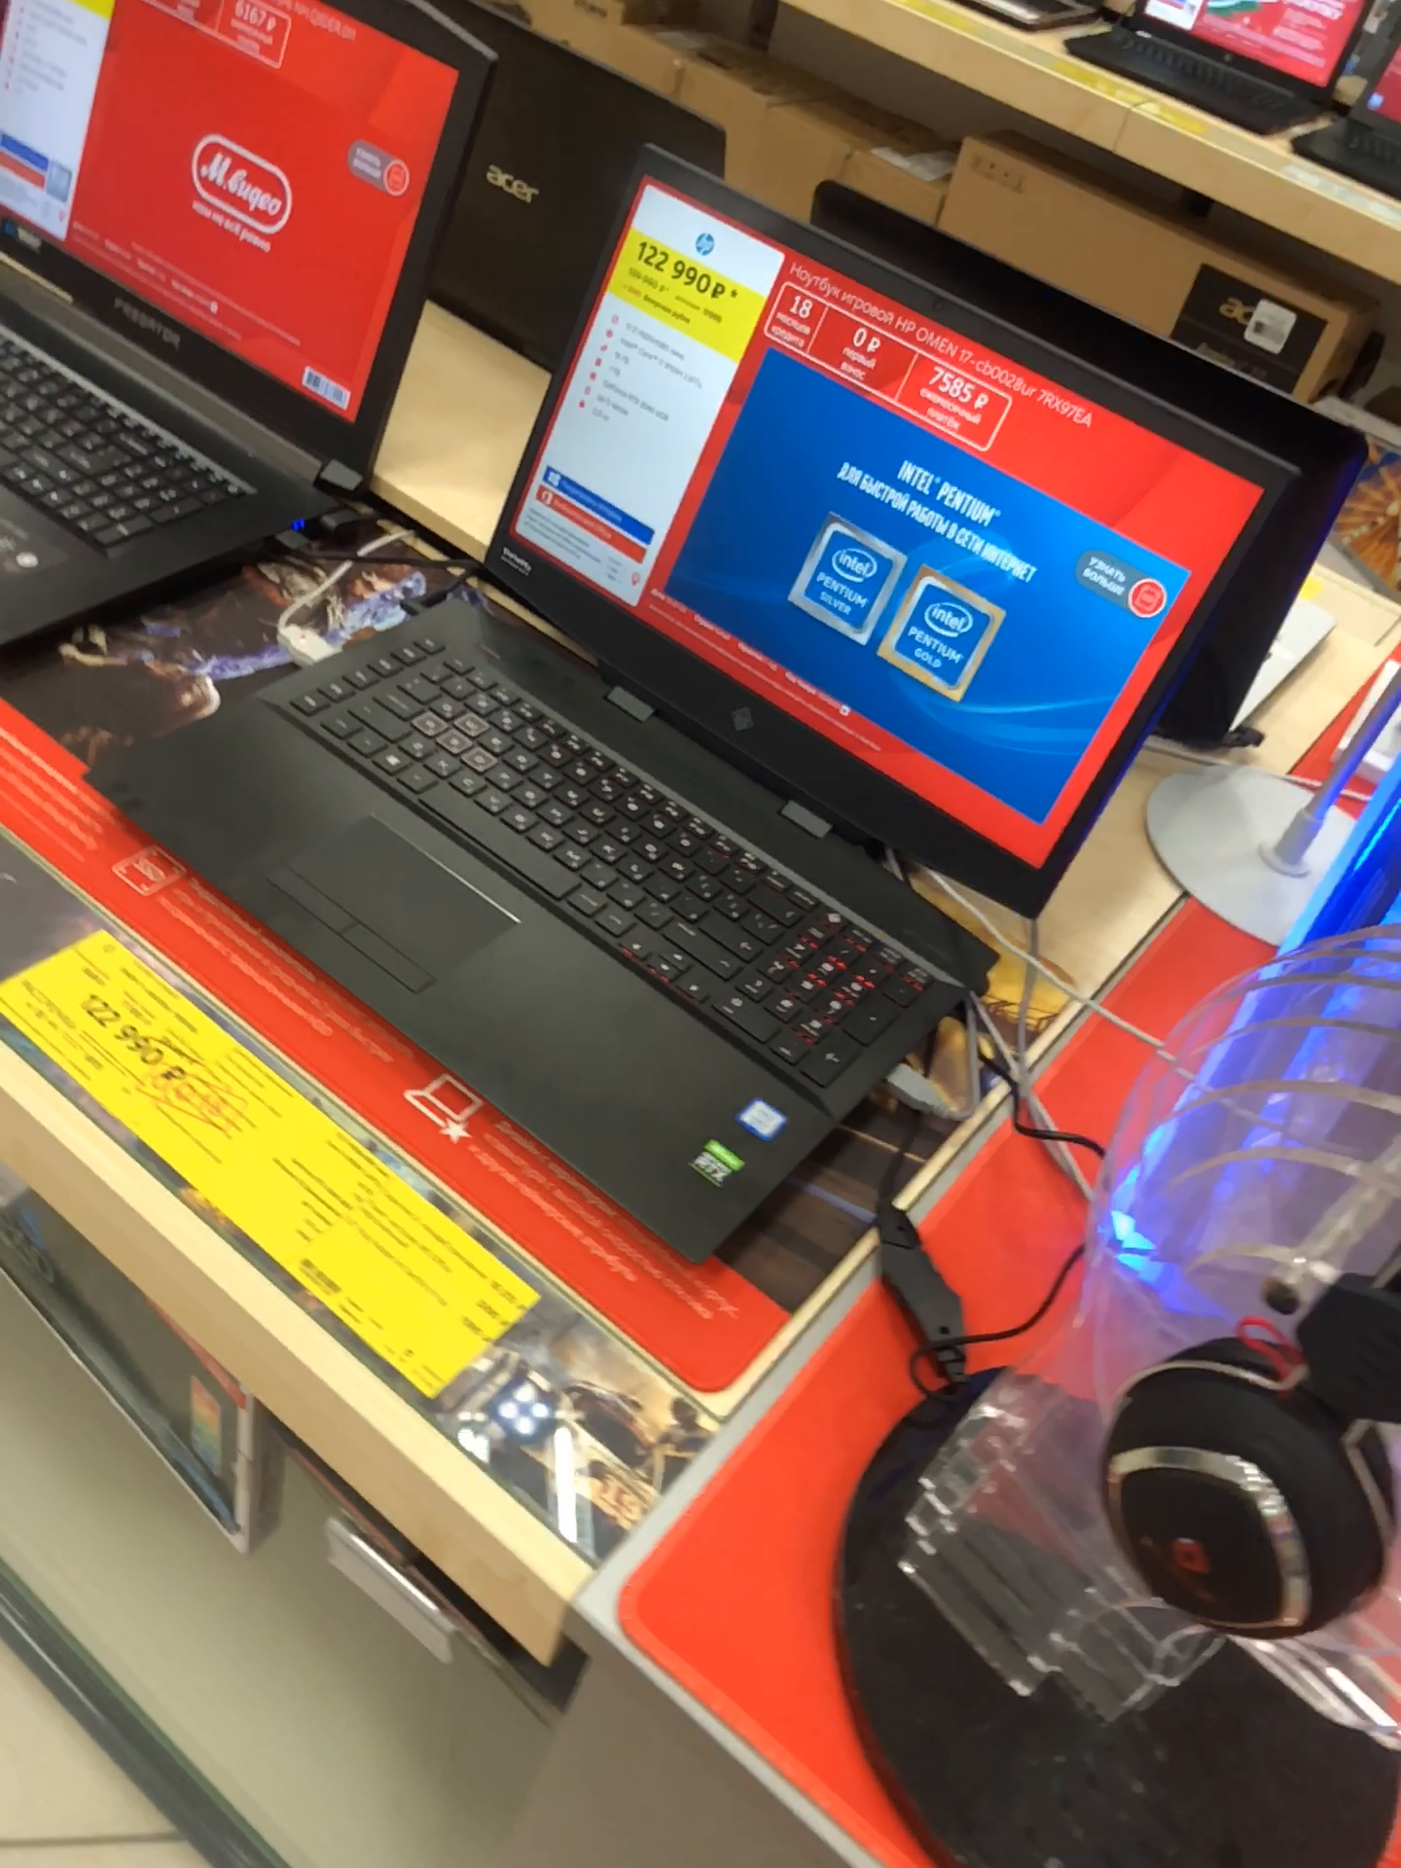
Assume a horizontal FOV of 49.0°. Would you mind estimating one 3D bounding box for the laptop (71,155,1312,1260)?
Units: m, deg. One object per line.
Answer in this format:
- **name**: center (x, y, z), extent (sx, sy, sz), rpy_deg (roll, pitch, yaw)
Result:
- **laptop**: center (-0.010, -0.147, 0.739), extent (0.392, 0.246, 0.376), rpy_deg (35, 46, 20)
